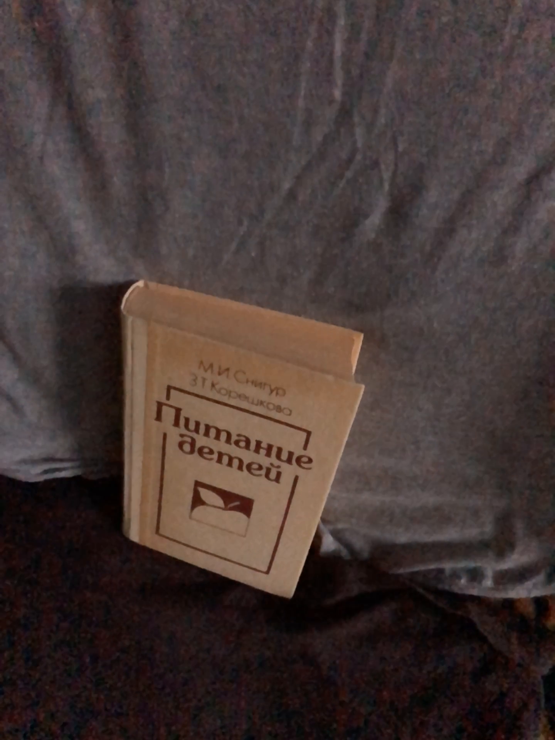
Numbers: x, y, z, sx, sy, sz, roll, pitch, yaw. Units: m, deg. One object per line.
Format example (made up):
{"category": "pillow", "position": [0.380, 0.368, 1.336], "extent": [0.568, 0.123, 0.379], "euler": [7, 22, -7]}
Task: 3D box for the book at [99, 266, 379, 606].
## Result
{"category": "book", "position": [-0.033, 0.055, 0.398], "extent": [0.144, 0.219, 0.041], "euler": [17, 41, 9]}
